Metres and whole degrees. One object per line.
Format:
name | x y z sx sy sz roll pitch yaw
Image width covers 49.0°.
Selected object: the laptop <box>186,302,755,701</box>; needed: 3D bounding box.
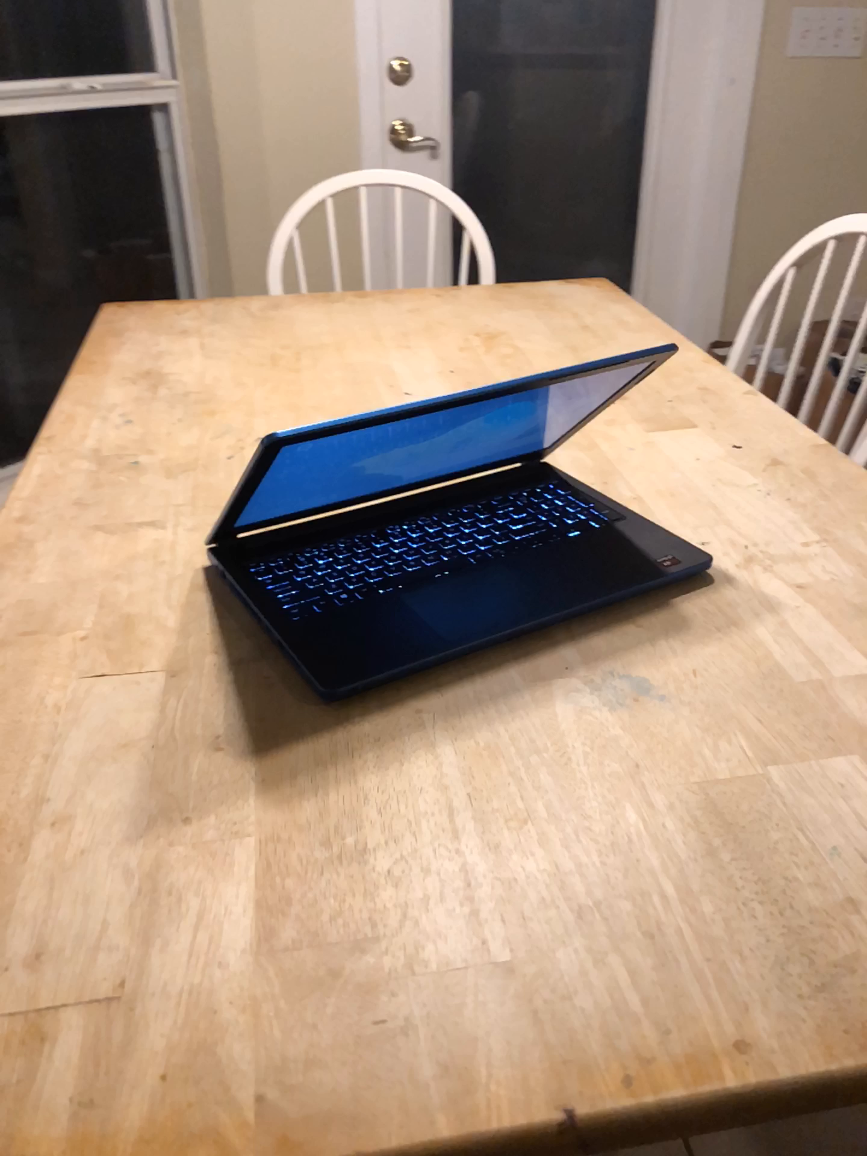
laptop | 0.027 -0.090 0.777 0.361 0.159 0.249 -18 35 -27
